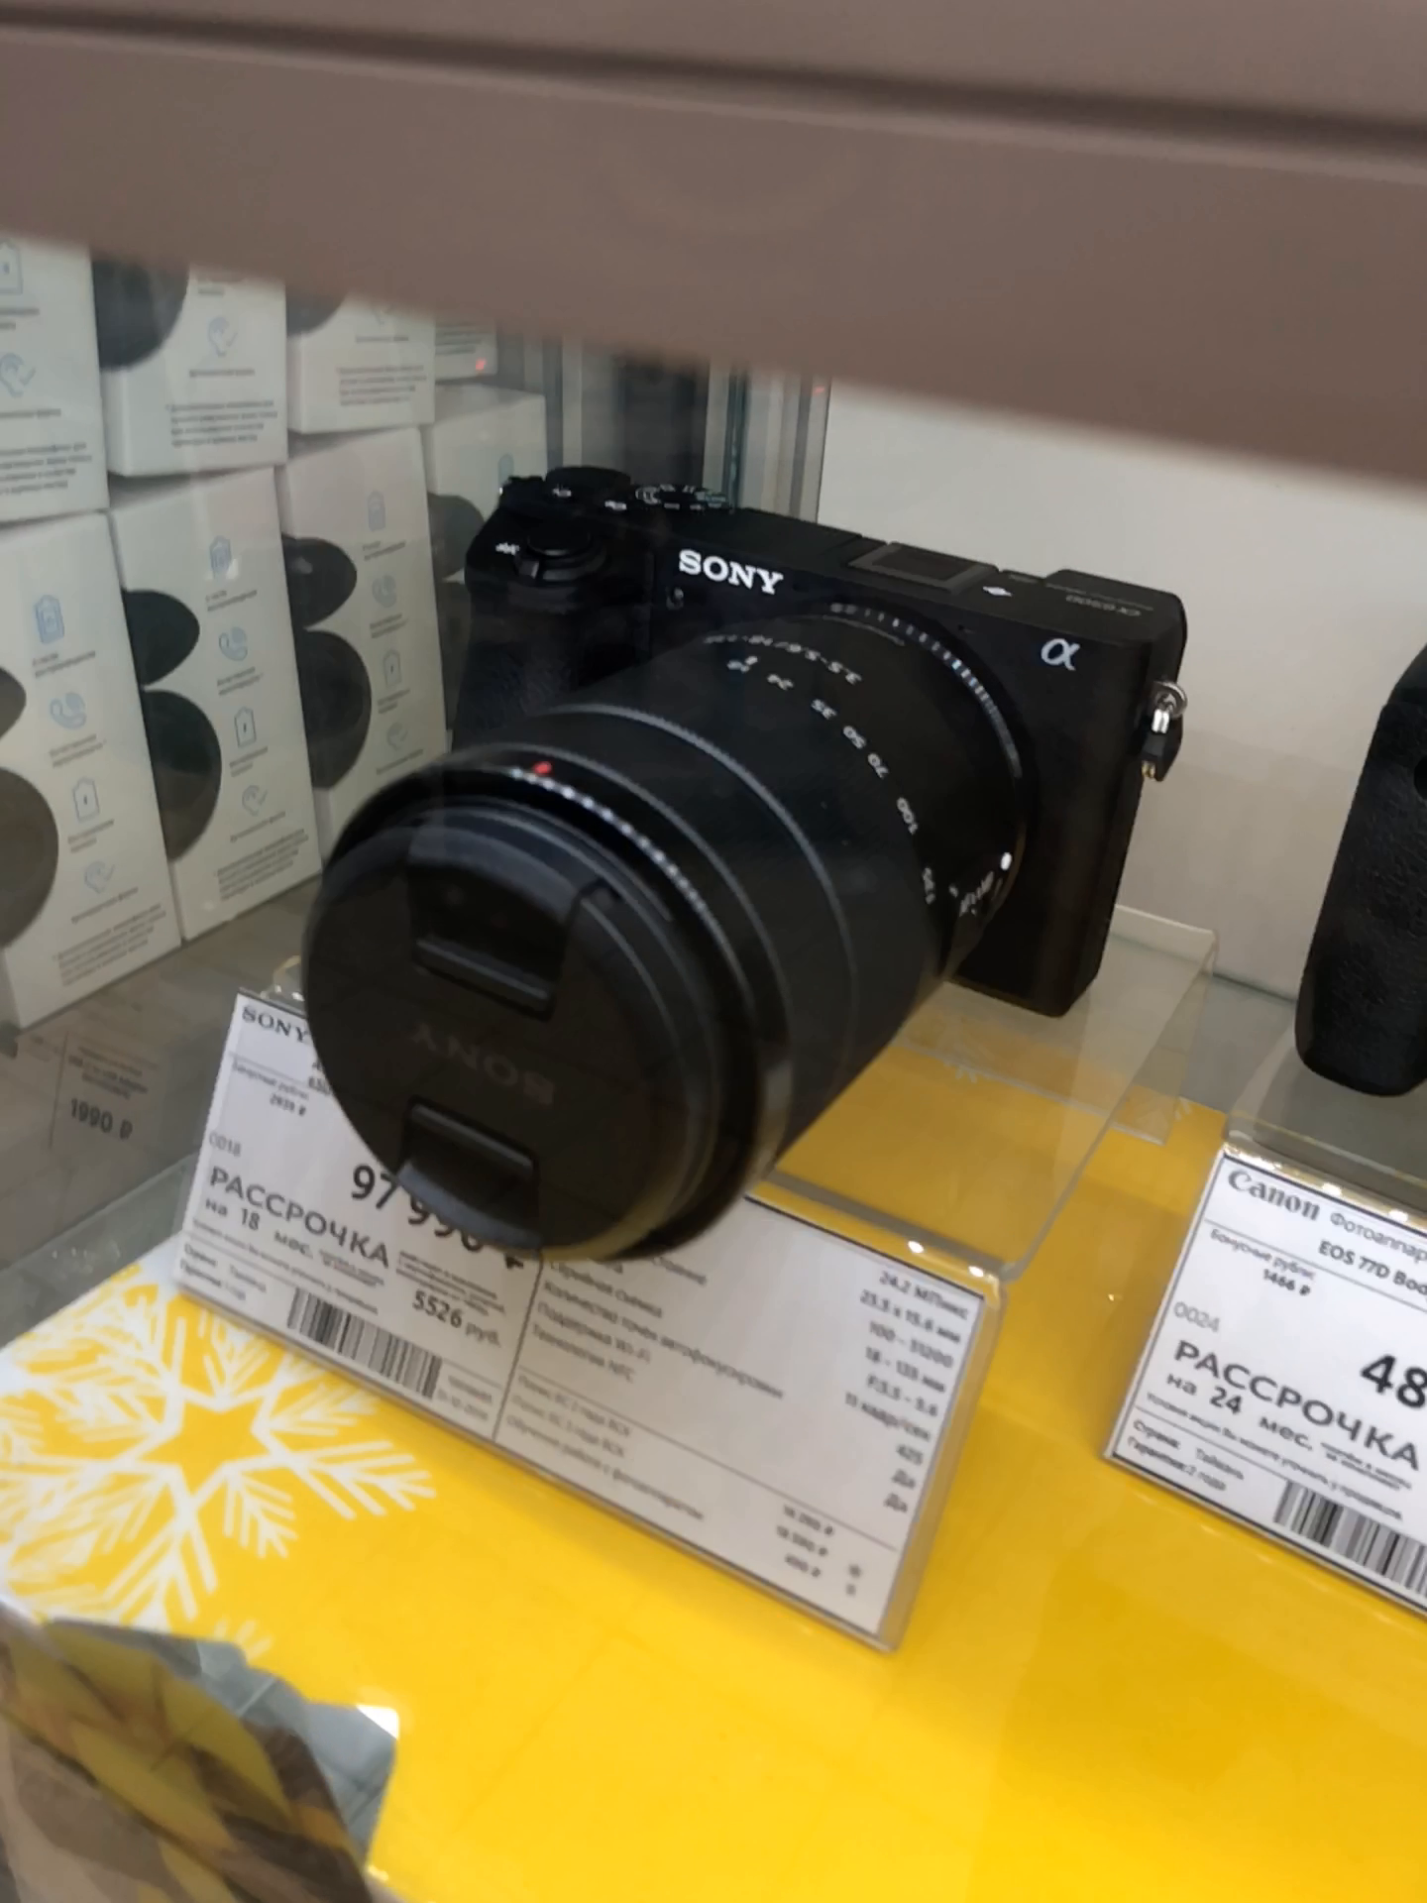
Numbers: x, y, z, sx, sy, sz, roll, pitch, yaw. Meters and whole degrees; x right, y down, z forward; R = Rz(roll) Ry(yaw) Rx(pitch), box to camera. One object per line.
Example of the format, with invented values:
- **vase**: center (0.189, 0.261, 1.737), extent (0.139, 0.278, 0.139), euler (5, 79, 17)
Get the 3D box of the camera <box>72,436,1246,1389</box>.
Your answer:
- **camera**: center (-0.005, -0.023, 0.259), extent (0.130, 0.080, 0.123), euler (21, 34, 28)
